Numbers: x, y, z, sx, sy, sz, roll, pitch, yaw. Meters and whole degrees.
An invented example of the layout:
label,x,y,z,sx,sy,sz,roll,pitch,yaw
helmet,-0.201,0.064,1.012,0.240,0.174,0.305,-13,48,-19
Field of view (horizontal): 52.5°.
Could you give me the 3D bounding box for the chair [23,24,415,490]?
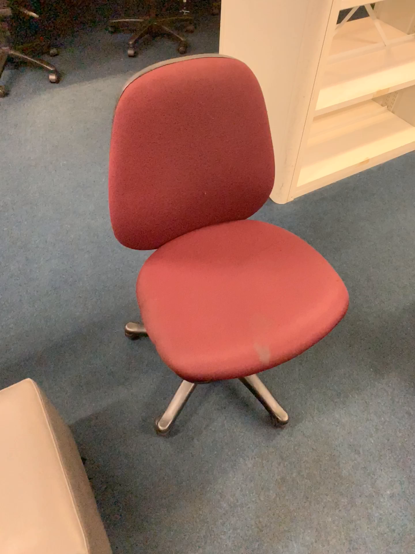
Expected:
label,x,y,z,sx,sy,sz,roll,pitch,yaw
chair,0.047,-0.039,1.078,0.651,0.783,0.695,-19,55,-16
